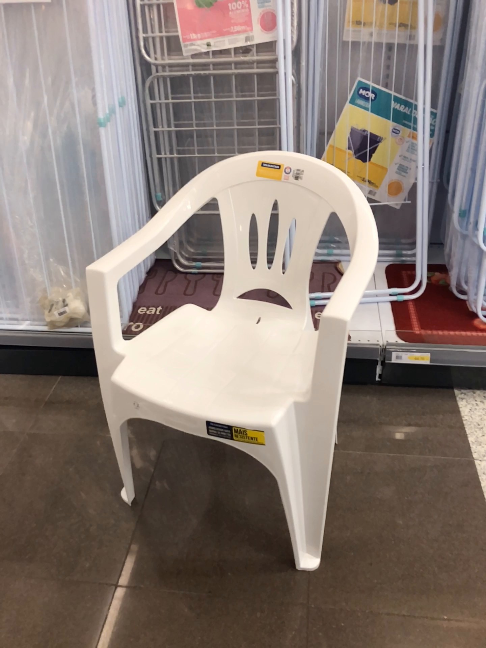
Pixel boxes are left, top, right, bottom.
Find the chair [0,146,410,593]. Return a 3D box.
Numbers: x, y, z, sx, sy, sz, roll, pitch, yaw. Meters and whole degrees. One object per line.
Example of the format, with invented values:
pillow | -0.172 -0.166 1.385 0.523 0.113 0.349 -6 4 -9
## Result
chair | 0.000 0.051 1.222 0.601 0.704 0.604 9 37 19
